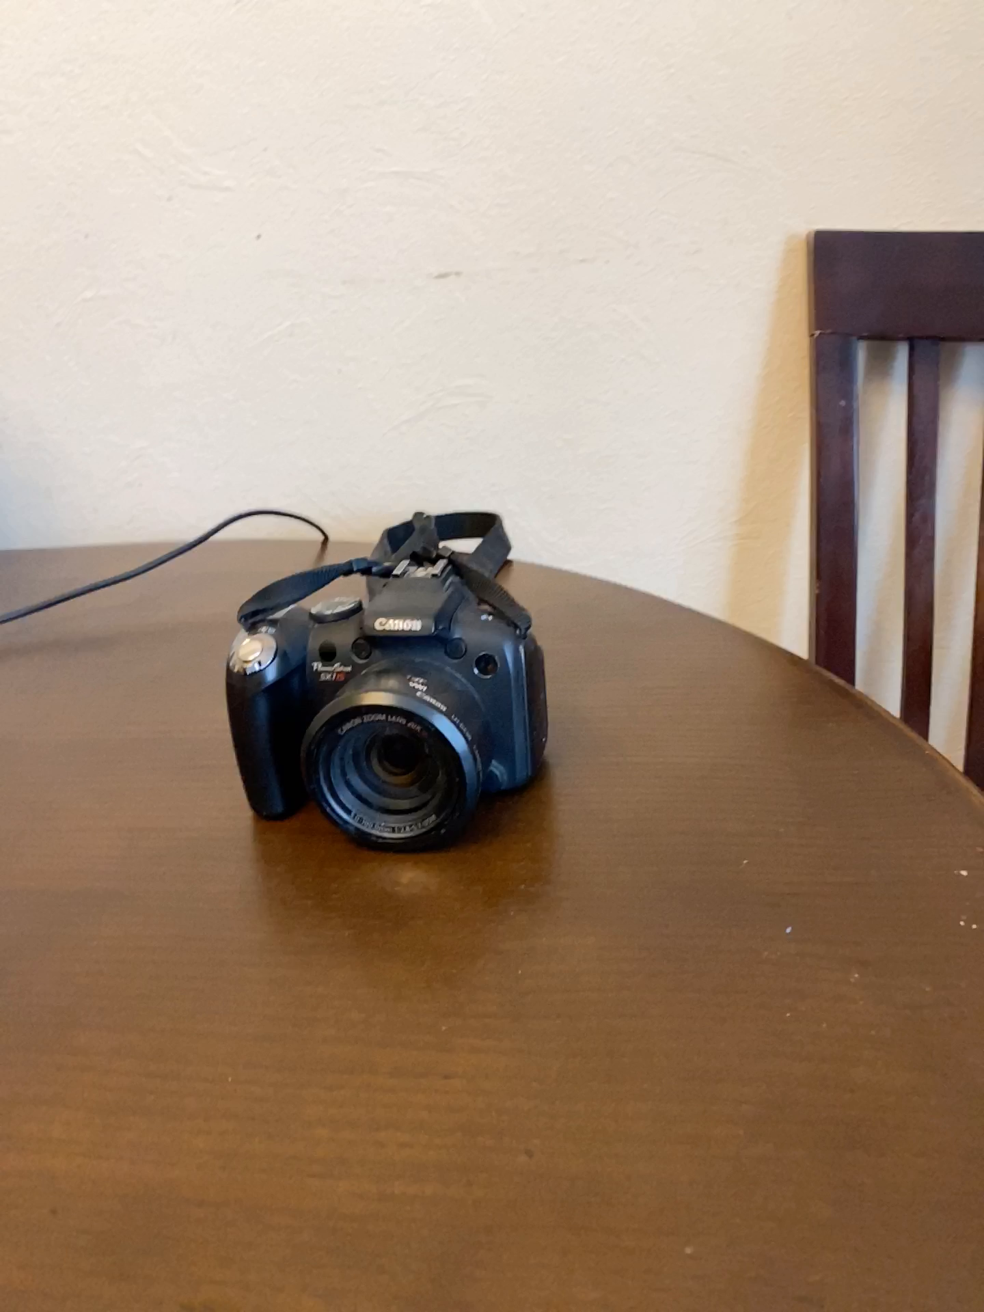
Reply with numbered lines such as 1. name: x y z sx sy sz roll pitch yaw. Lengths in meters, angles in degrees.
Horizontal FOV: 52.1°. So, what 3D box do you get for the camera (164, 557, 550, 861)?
1. camera: -0.045 0.016 0.395 0.123 0.088 0.082 1 23 11
